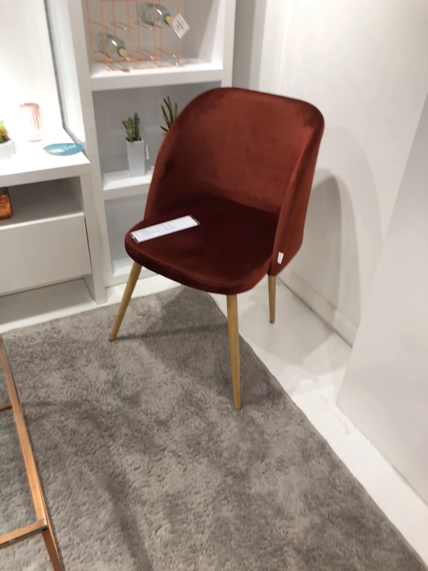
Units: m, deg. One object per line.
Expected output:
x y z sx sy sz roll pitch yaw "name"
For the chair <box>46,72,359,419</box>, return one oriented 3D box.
-0.004 -0.174 1.465 0.591 0.734 0.654 20 39 22 "chair"
